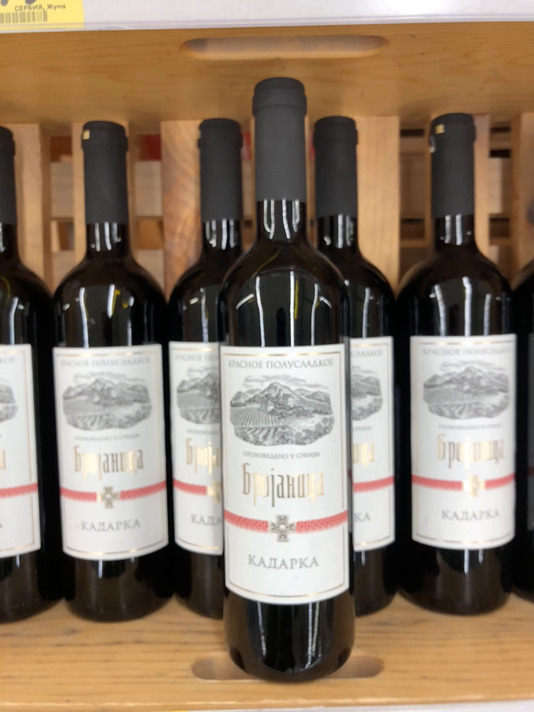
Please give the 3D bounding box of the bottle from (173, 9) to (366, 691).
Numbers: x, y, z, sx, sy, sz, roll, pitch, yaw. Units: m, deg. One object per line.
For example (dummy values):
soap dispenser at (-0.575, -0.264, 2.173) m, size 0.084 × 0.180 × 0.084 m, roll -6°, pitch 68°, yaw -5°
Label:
bottle at (0.004, 0.001, 0.312) m, size 0.080 × 0.080 × 0.309 m, roll -1°, pitch 94°, yaw 1°
